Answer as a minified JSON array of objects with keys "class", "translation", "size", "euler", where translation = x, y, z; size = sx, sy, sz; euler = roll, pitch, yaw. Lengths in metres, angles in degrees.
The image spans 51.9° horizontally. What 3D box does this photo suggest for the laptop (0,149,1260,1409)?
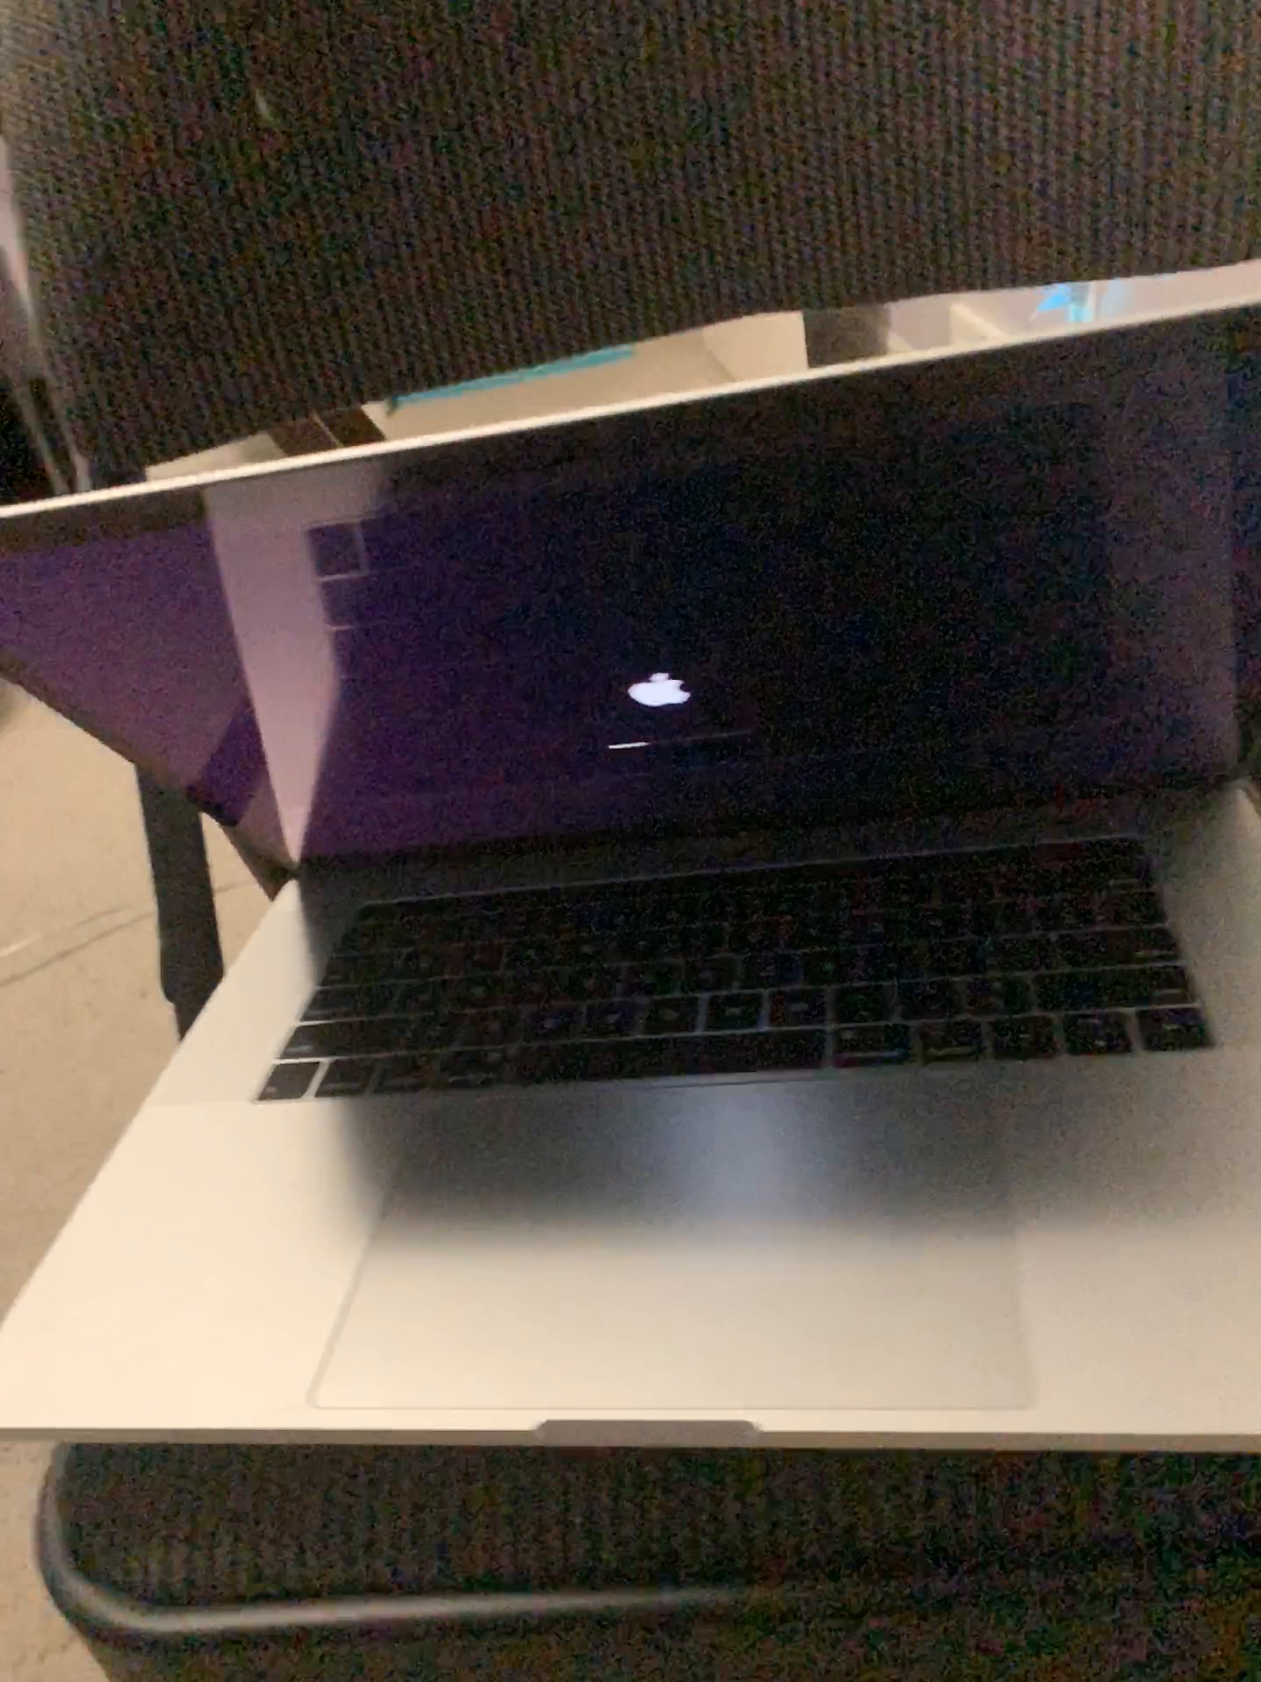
[{"class":"laptop","translation":[0.010,-0.019,0.319],"size":[0.334,0.188,0.232],"euler":[-6,32,13]}]
